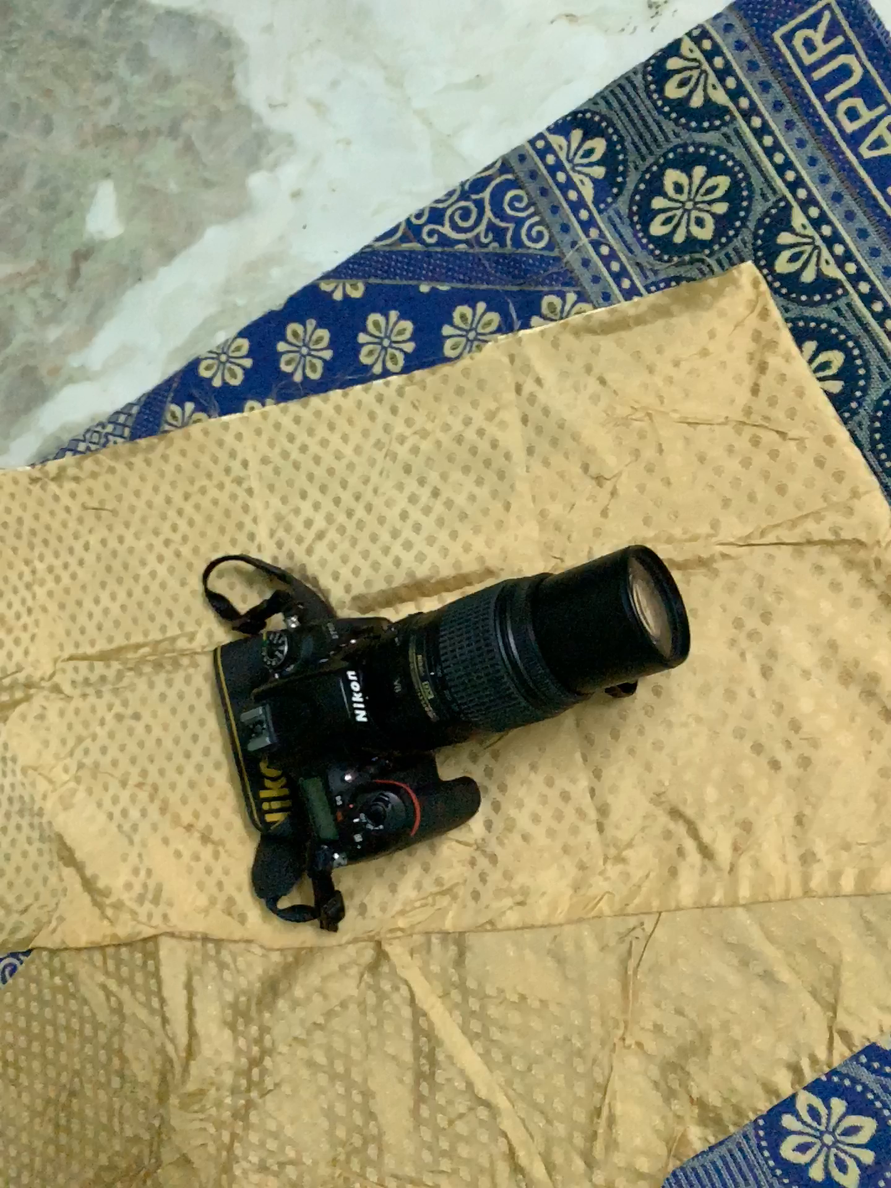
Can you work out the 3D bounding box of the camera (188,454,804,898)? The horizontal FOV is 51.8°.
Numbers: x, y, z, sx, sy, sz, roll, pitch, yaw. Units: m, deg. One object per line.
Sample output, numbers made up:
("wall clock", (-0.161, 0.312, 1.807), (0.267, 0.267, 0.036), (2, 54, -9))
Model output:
("camera", (0.028, 0.051, 0.481), (0.241, 0.180, 0.140), (-20, 78, 30))
